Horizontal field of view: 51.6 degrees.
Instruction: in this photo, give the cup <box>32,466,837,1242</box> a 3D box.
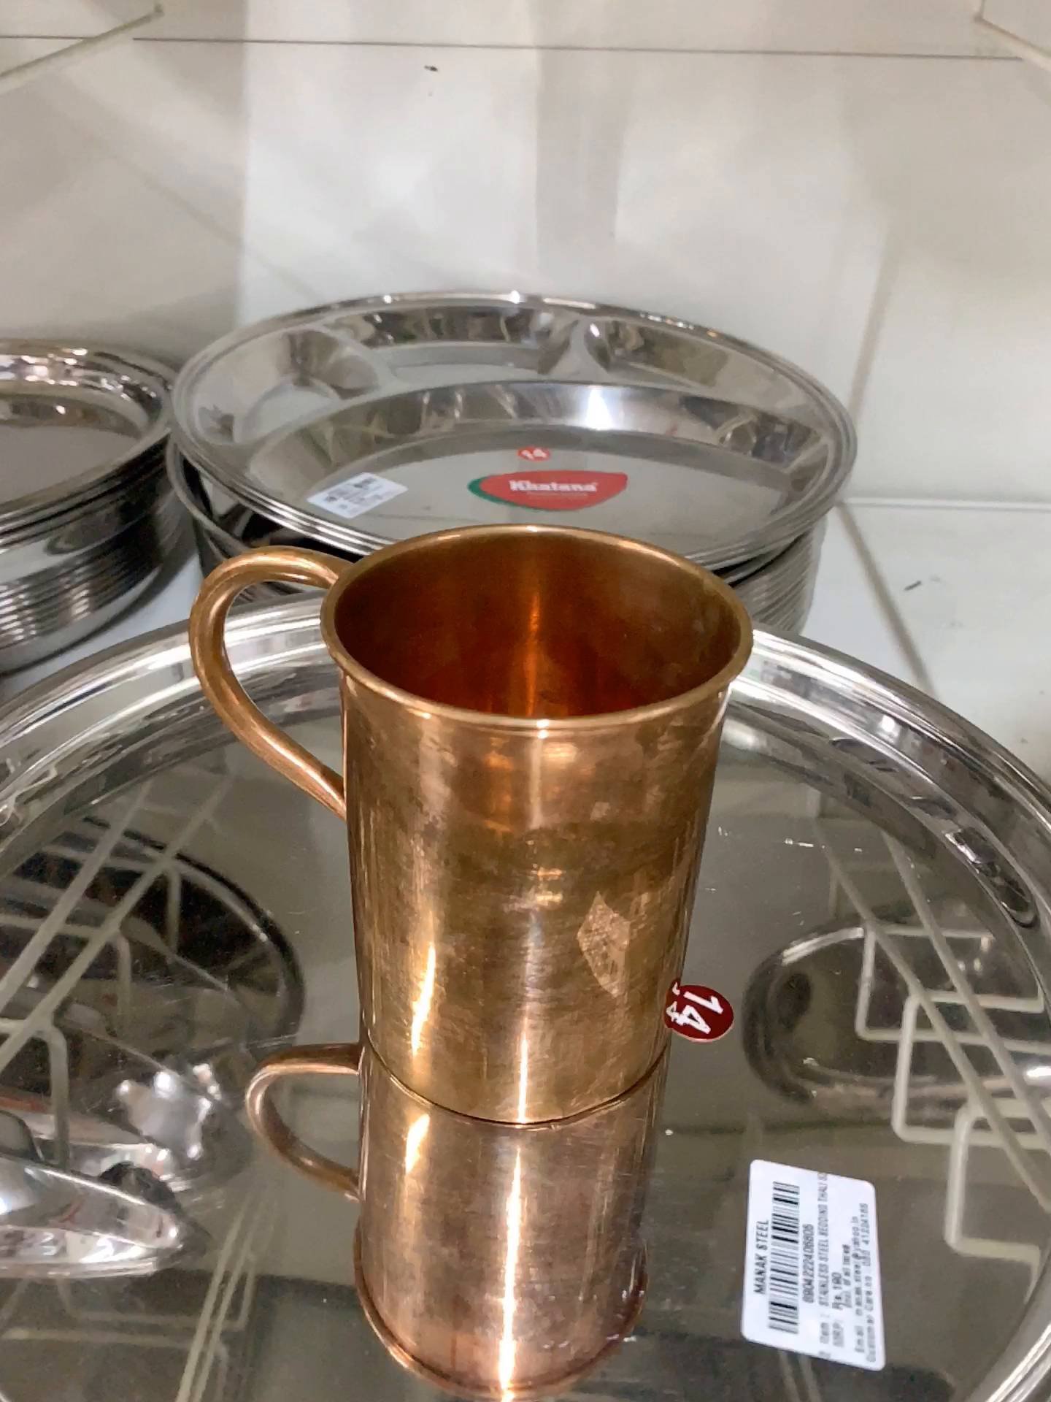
[{"bbox_3d":[-0.012,0.029,0.238,0.130,0.119,0.080,11,37,15],"label":"cup"}]
